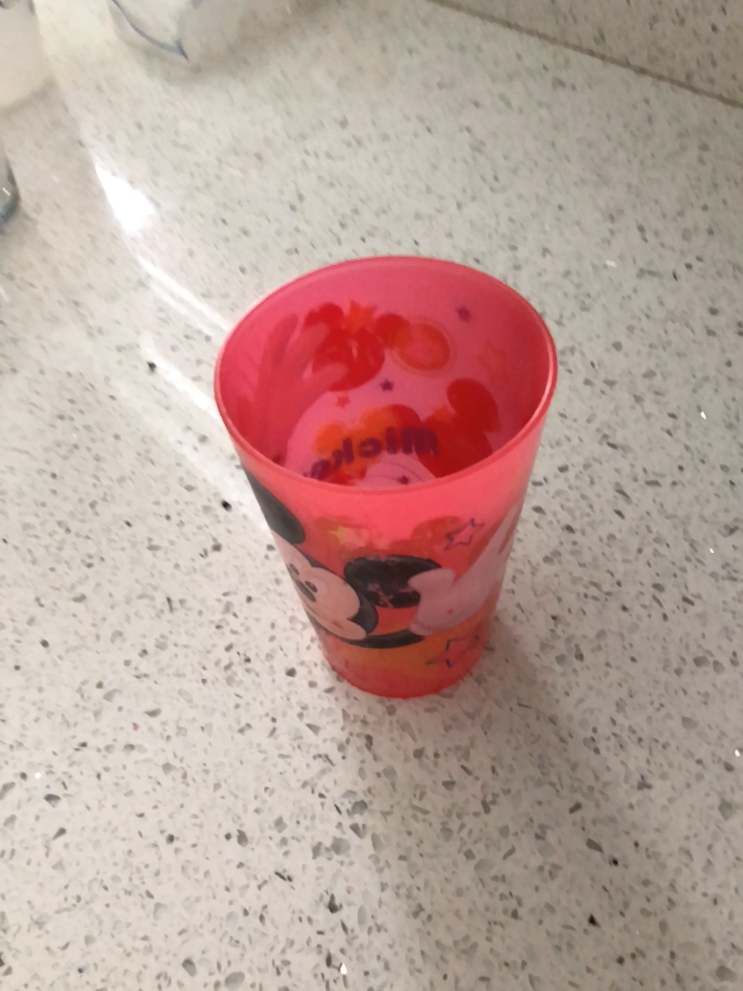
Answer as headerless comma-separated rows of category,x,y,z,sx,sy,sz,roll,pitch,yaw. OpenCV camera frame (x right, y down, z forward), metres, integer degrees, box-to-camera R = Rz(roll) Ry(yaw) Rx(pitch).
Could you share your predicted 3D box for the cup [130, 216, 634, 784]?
cup,0.004,0.003,0.203,0.071,0.096,0.074,-3,51,4
